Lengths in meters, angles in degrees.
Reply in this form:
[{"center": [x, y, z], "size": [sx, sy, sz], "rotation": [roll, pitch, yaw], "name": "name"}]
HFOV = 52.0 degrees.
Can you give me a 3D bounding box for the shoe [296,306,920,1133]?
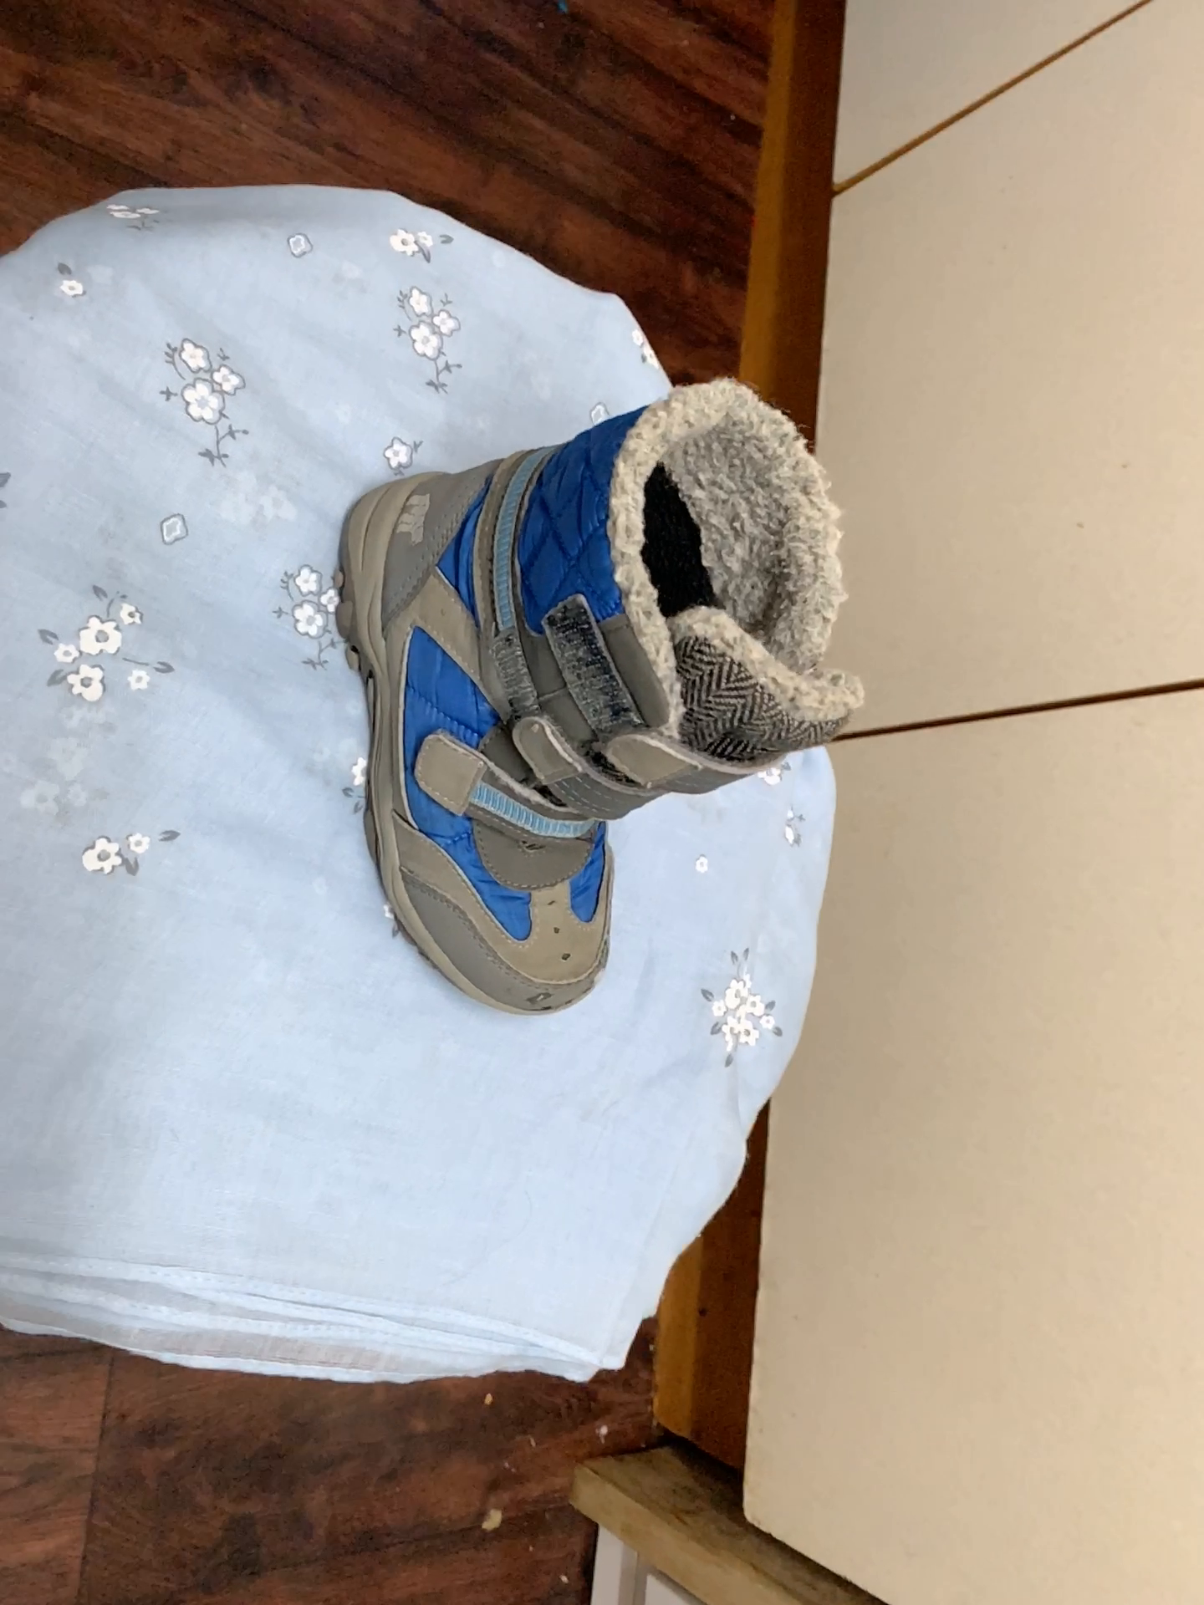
[{"center": [-0.007, -0.020, 0.386], "size": [0.091, 0.159, 0.200], "rotation": [-10, 92, -36], "name": "shoe"}]
